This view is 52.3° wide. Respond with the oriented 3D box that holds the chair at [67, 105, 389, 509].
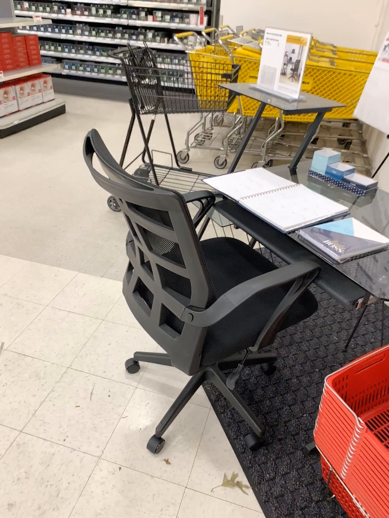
[{"bbox_3d":[0.090,0.092,1.274,0.695,0.942,0.617,-17,38,-29],"label":"chair"}]
